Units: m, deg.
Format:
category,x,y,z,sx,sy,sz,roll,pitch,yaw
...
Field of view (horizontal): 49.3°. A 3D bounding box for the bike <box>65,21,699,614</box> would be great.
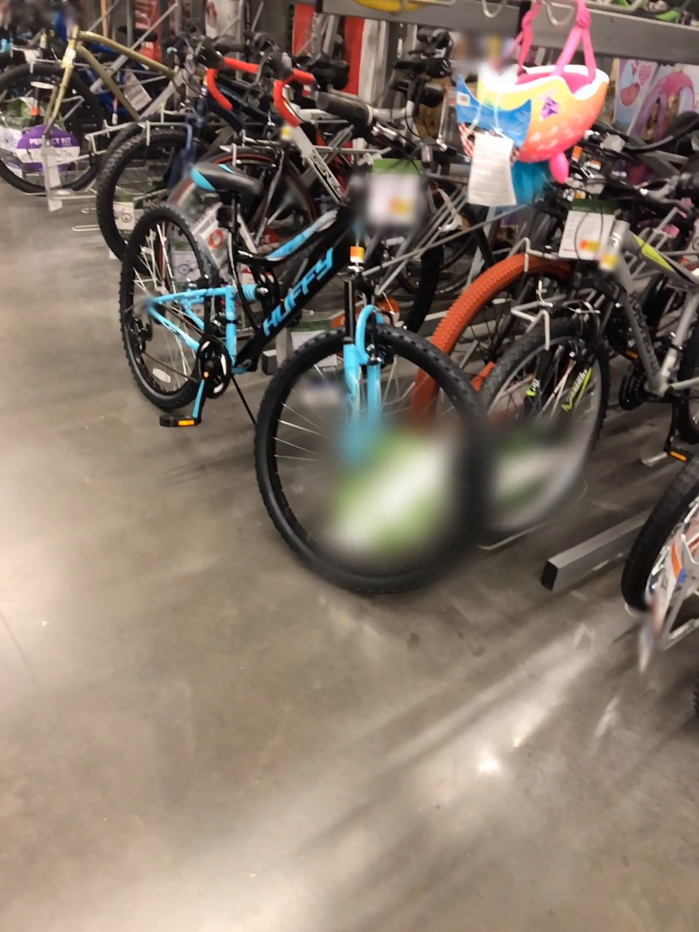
category,x,y,z,sx,sy,sz,roll,pitch,yaw
bike,-0.079,-0.546,2.169,0.545,1.120,1.711,-22,41,-36
